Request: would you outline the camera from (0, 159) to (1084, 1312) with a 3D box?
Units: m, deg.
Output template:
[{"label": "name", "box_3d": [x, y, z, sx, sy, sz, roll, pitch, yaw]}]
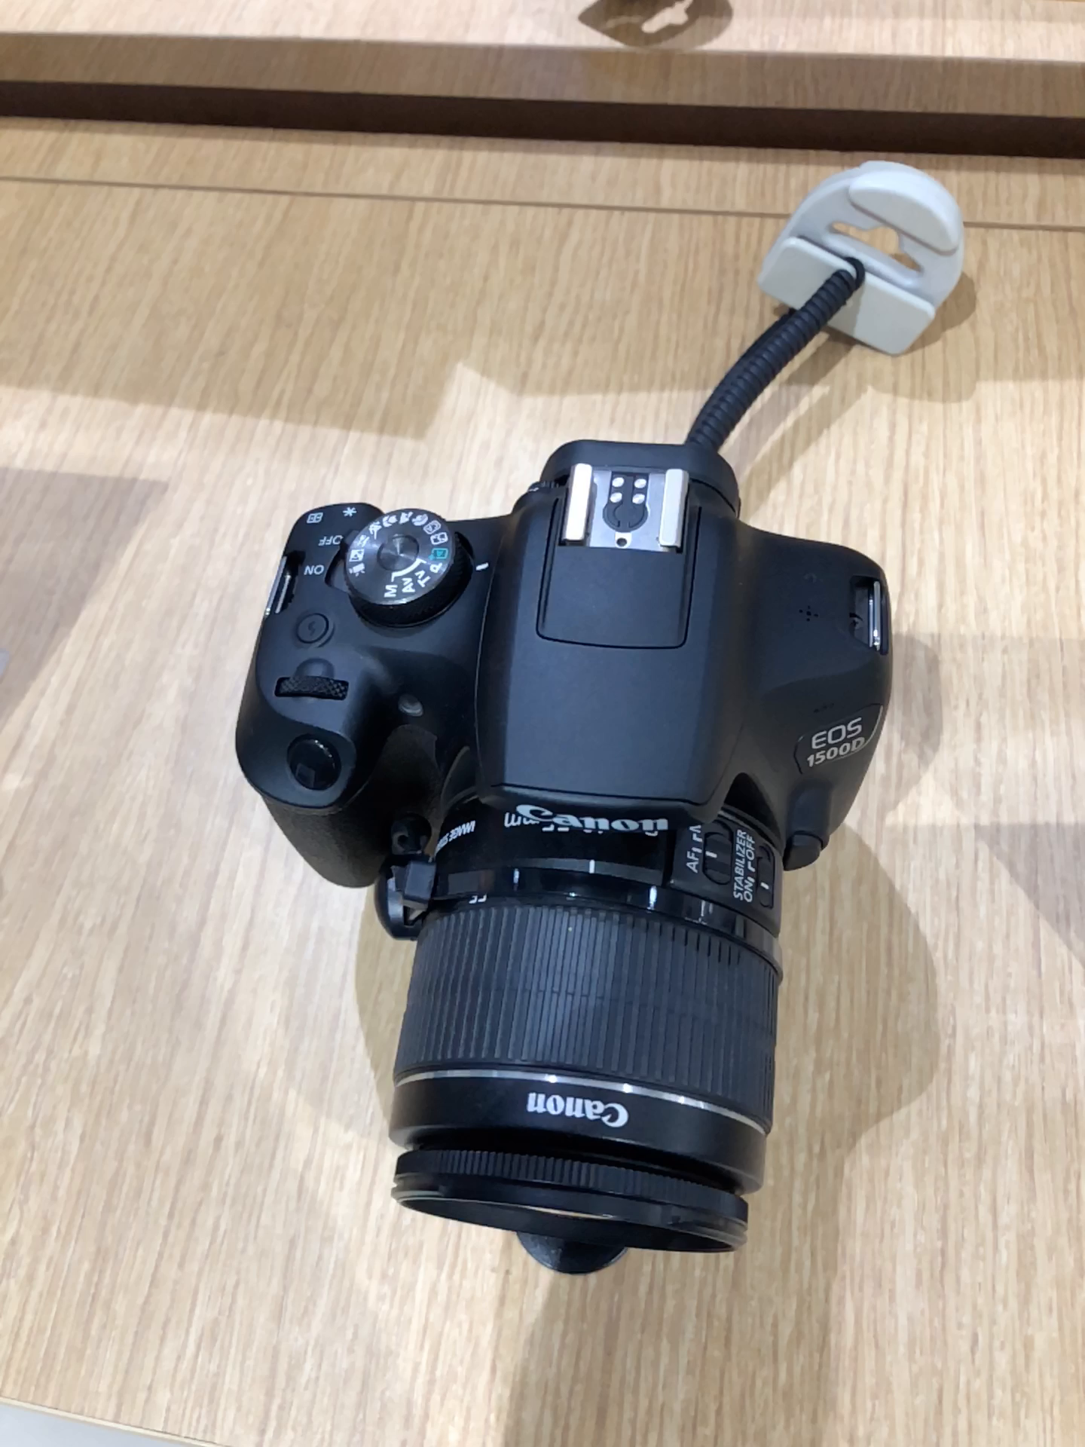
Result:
[{"label": "camera", "box_3d": [0.009, -0.002, 0.233, 0.140, 0.100, 0.191, 3, 61, 7]}]
